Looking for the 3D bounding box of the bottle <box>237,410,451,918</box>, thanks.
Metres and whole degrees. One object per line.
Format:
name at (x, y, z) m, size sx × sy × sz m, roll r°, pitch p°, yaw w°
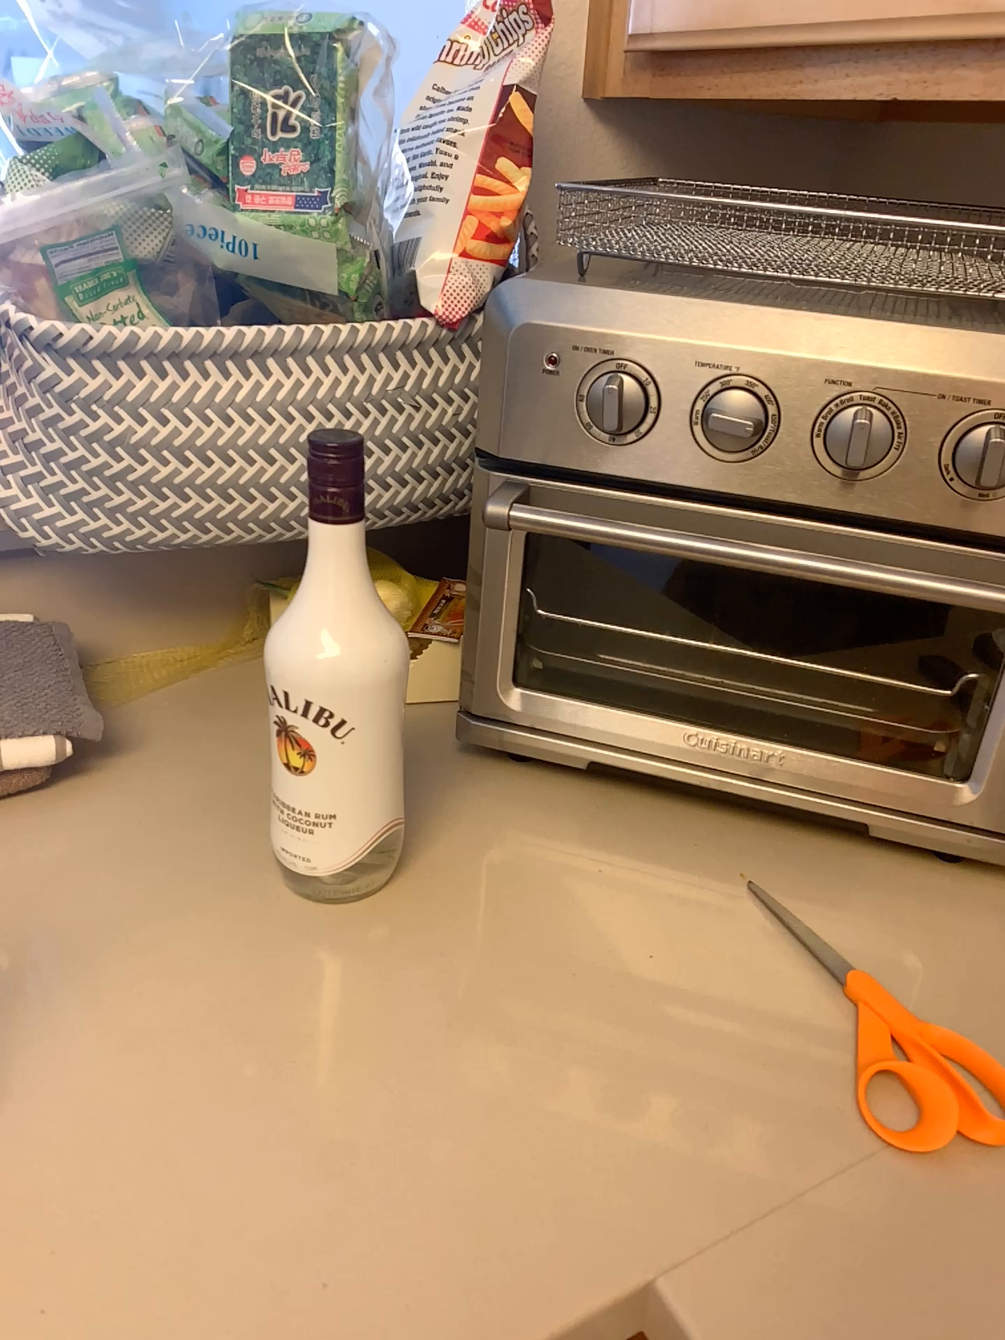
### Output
bottle at (-0.084, 0.001, 0.563) m, size 0.080 × 0.258 × 0.080 m, roll 3°, pitch 27°, yaw -2°
